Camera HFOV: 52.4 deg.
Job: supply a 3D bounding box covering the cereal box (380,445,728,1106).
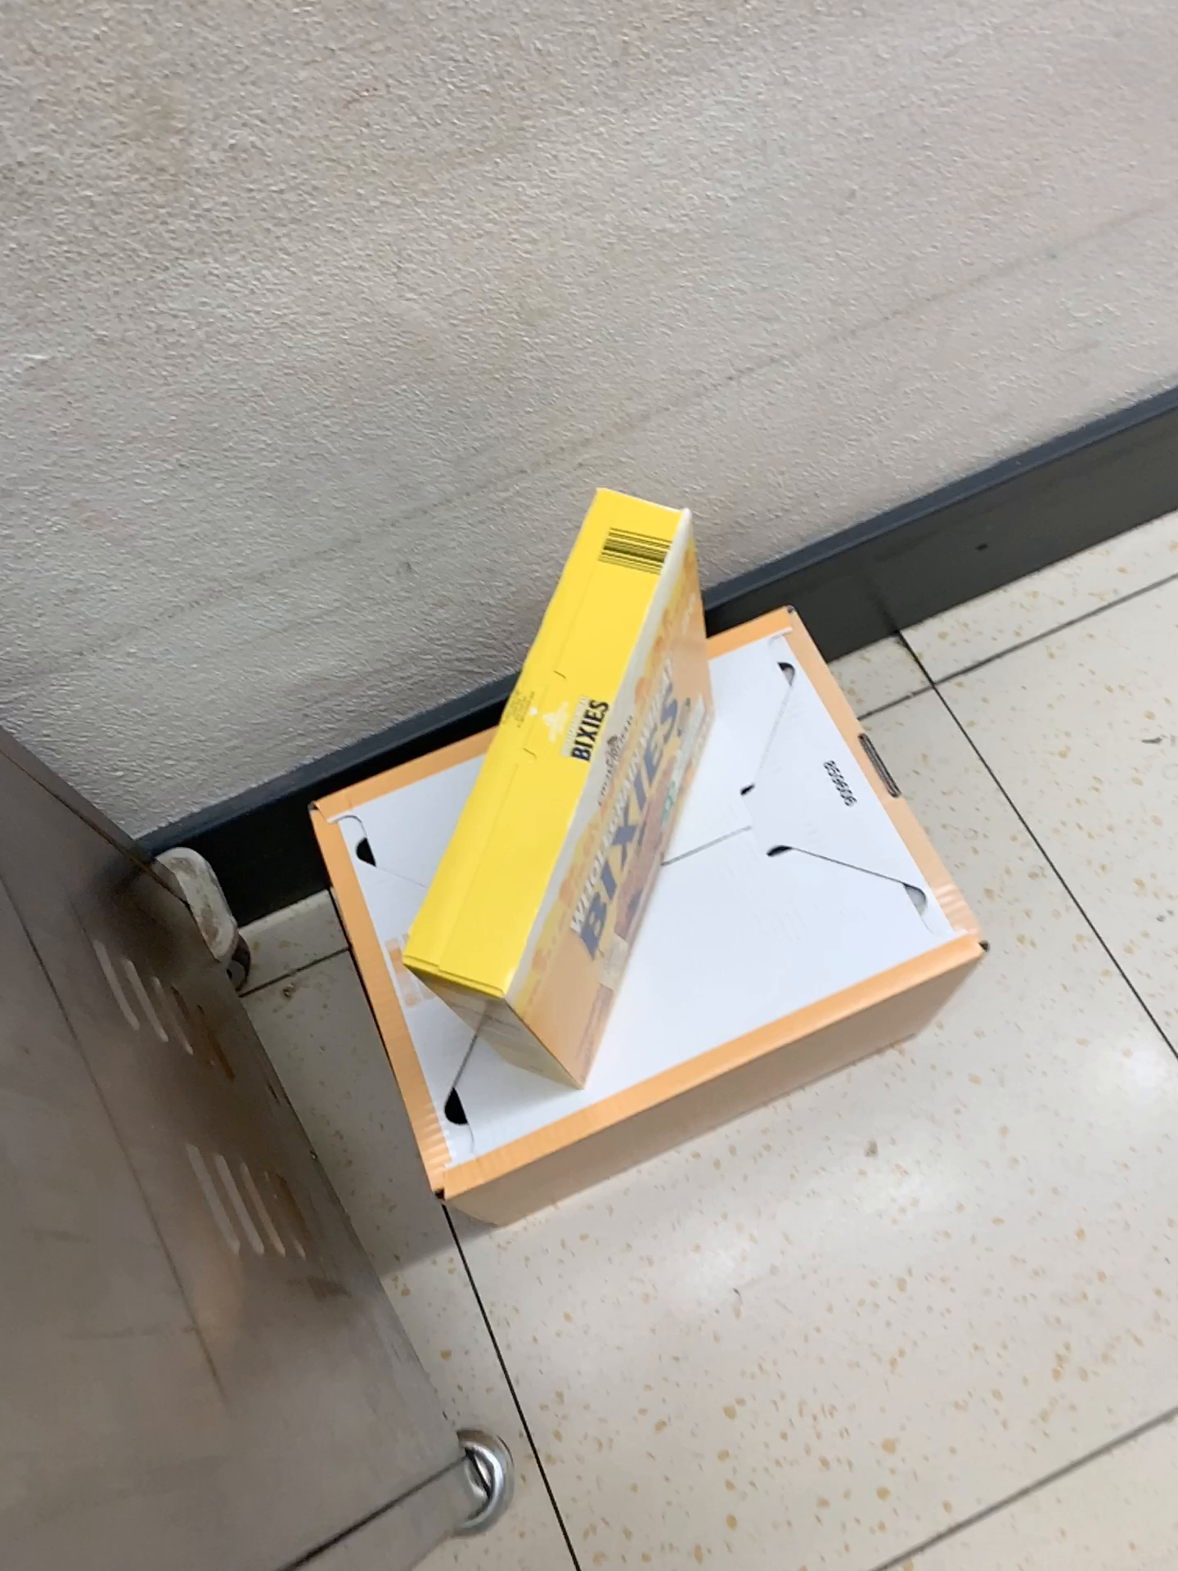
[{"bbox_3d":[0.000,0.013,0.698,0.070,0.279,0.291,17,69,11],"label":"cereal box"}]
